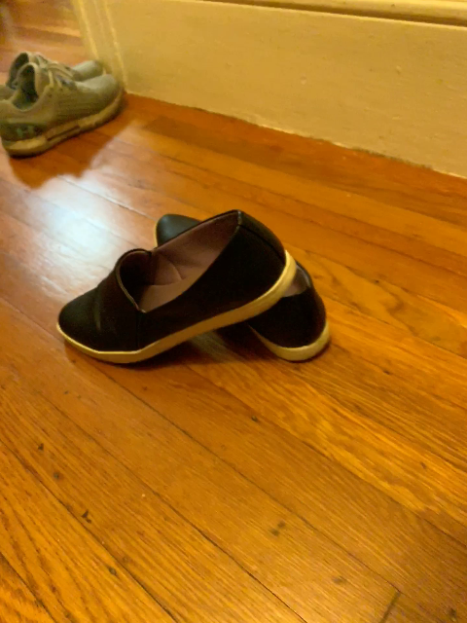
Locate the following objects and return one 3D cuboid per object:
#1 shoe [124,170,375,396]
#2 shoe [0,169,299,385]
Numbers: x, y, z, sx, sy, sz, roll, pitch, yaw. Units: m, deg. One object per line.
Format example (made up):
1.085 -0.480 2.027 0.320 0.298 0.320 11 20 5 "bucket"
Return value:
0.004 -0.045 0.498 0.100 0.080 0.261 -32 49 -22 "shoe"
-0.076 -0.022 0.433 0.250 0.080 0.101 -16 40 24 "shoe"
